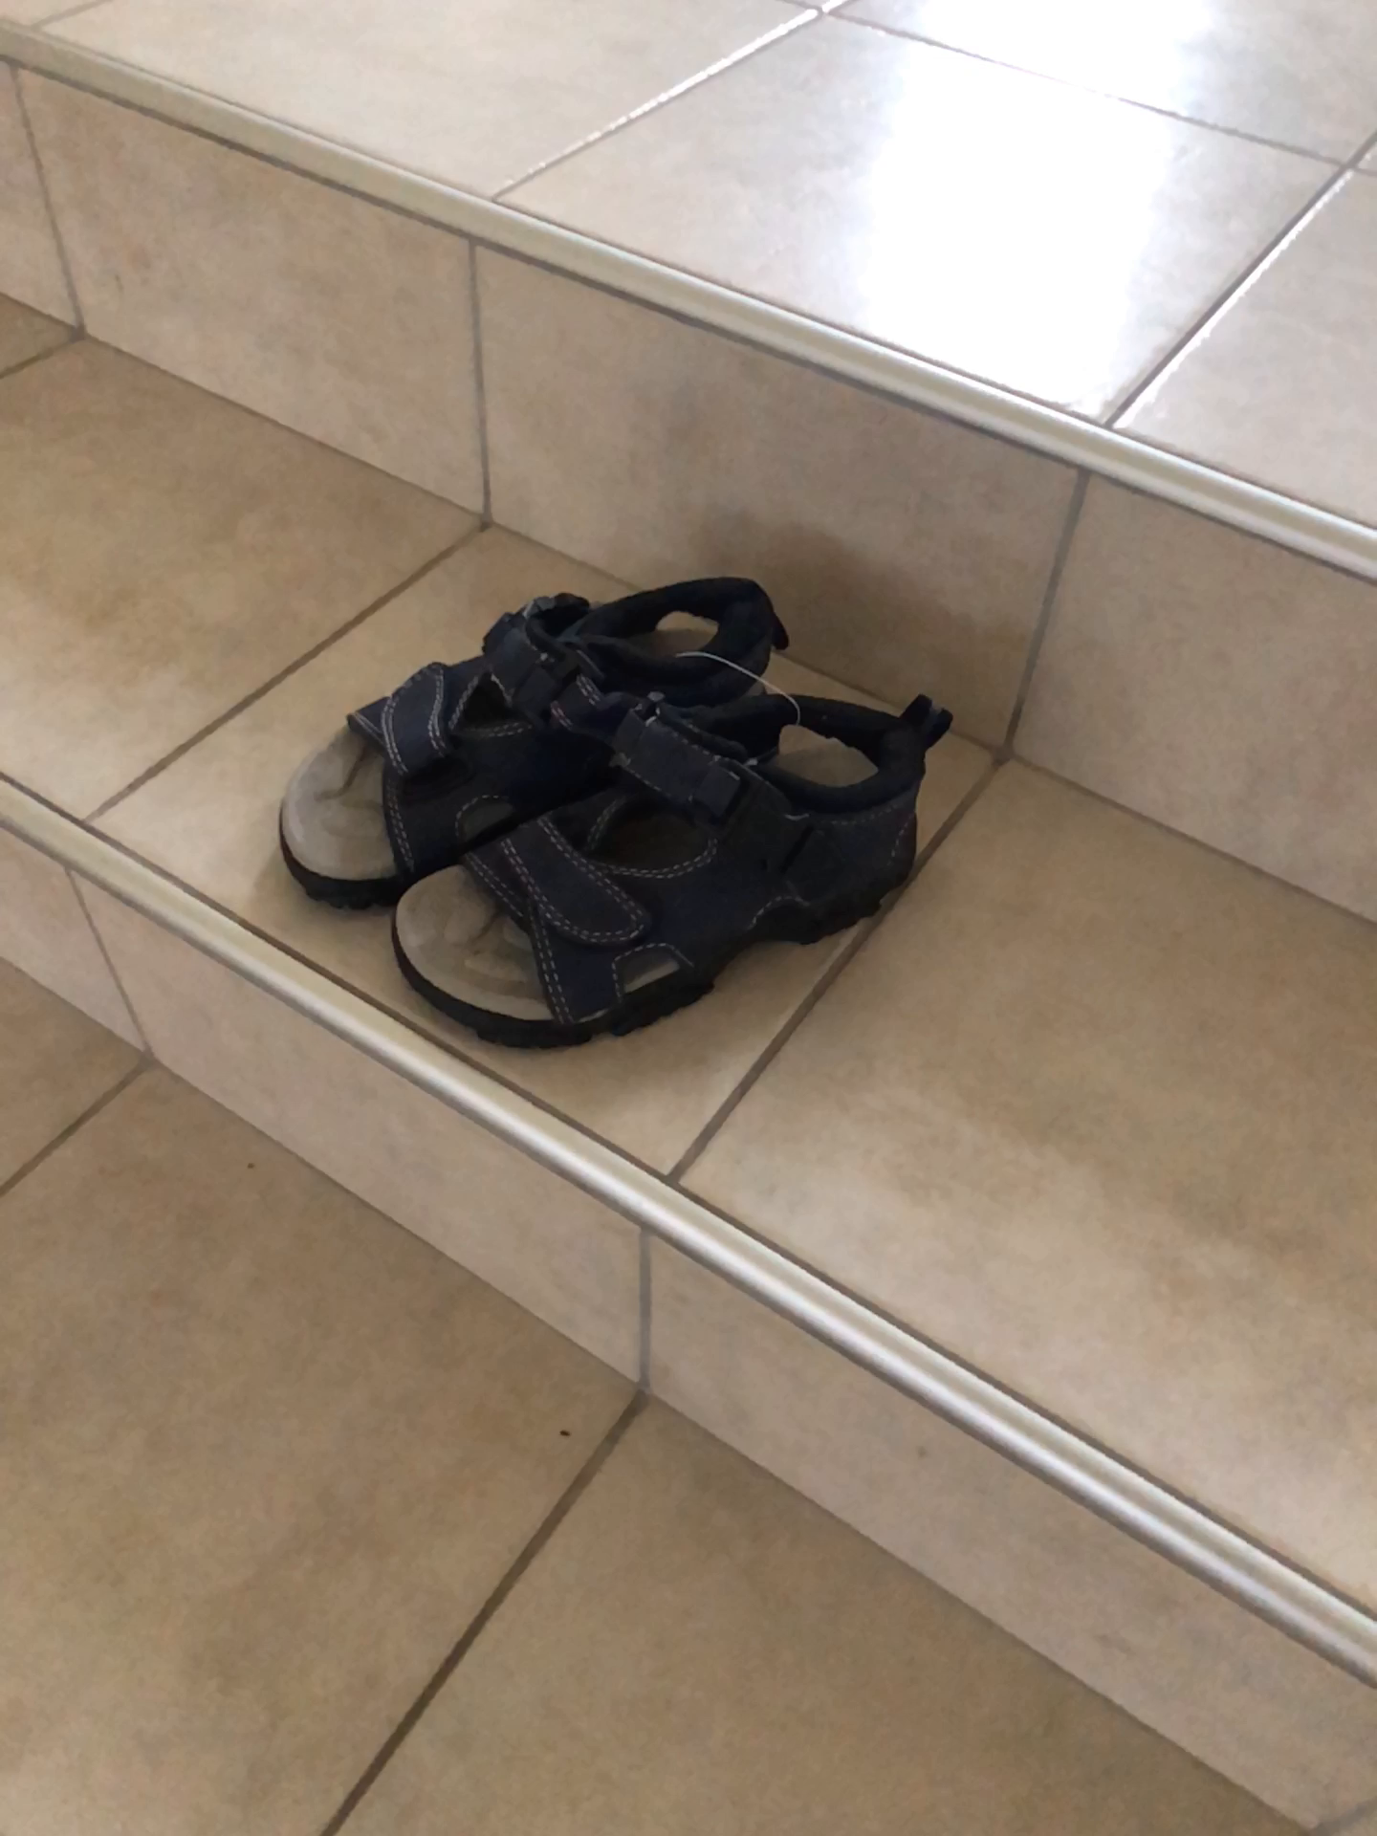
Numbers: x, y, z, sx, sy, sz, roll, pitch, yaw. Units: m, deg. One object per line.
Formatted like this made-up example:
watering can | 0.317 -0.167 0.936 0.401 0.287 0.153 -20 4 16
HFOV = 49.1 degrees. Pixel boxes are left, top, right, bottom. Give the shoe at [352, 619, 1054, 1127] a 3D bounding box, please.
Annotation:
shoe | 0.005 -0.022 0.572 0.231 0.090 0.100 -17 52 -18

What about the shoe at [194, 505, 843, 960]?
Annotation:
shoe | -0.067 -0.081 0.619 0.231 0.090 0.100 -17 52 -18
